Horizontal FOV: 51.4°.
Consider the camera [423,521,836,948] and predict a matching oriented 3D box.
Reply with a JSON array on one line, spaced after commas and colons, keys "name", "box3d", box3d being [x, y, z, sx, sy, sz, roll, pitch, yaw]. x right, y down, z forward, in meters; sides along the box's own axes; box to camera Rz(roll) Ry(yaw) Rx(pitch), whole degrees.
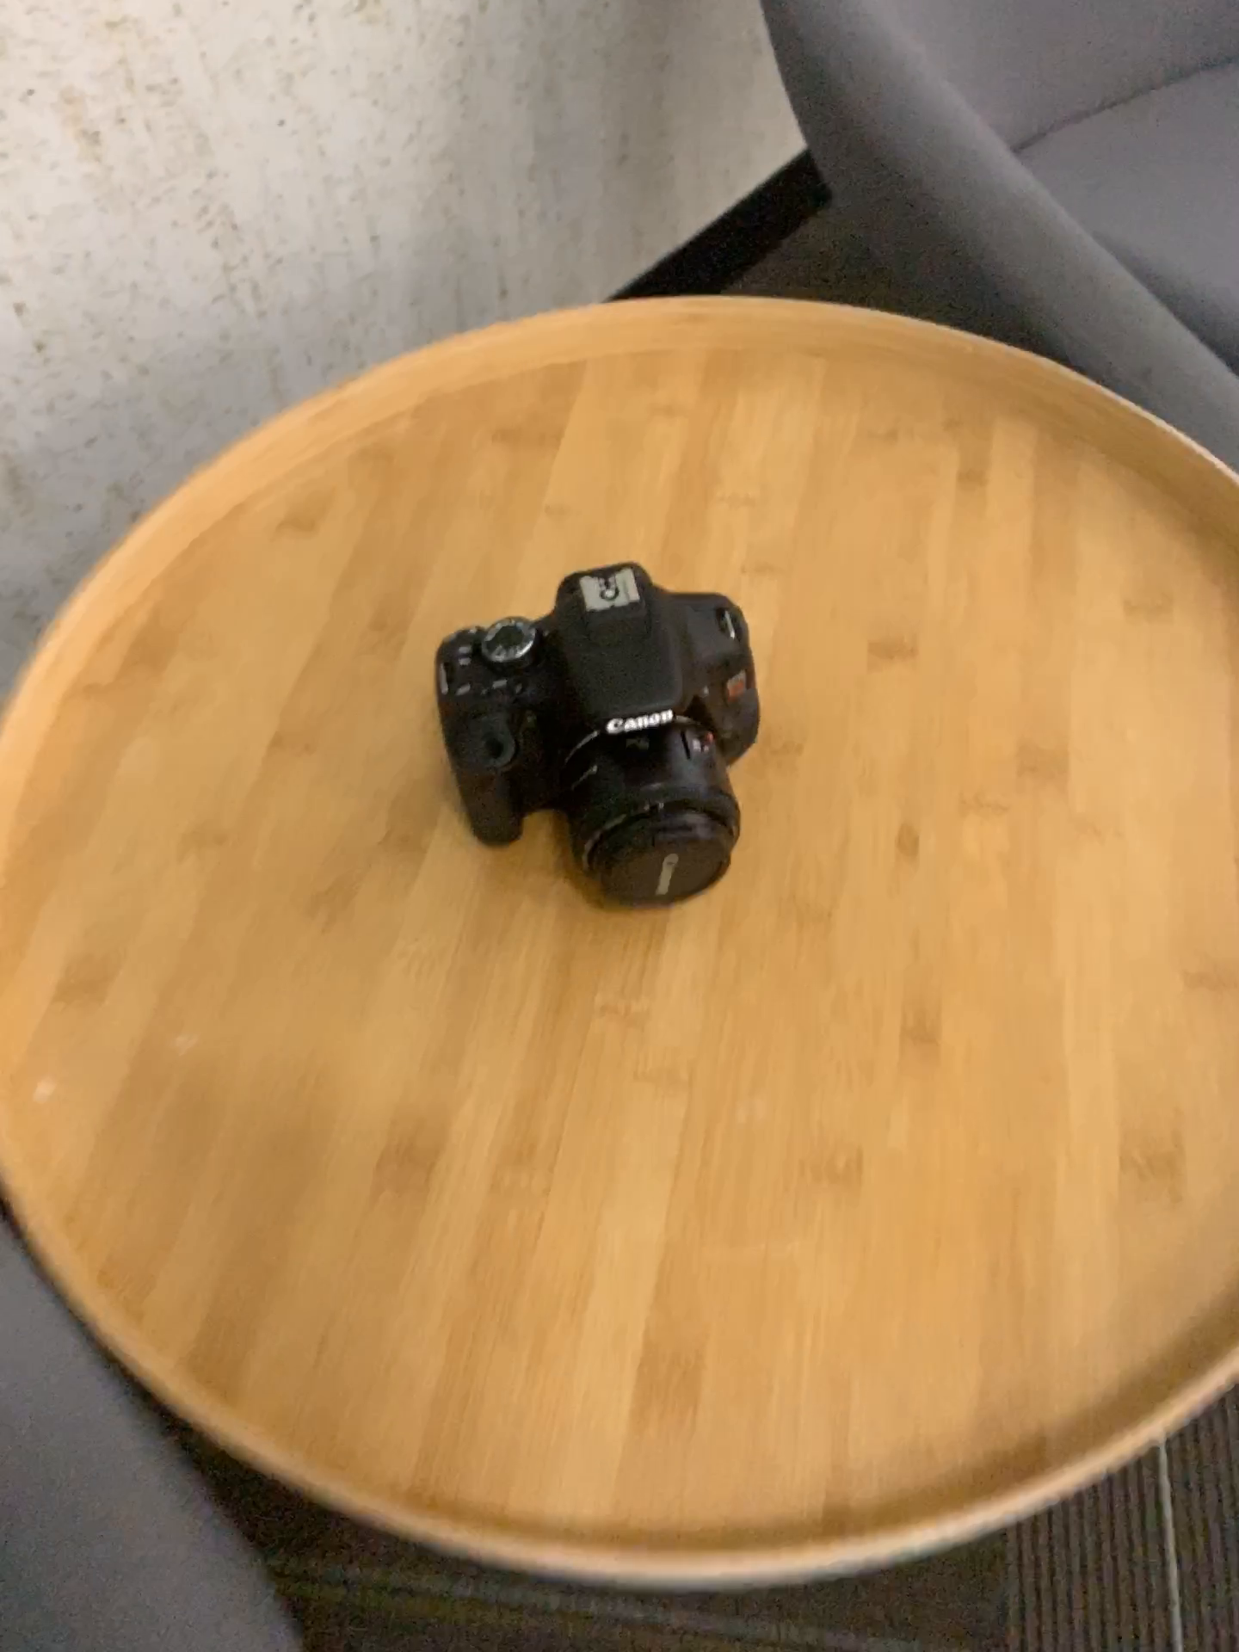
[{"name": "camera", "box3d": [0.001, -0.036, 0.513, 0.134, 0.090, 0.119, -10, 58, -3]}]
